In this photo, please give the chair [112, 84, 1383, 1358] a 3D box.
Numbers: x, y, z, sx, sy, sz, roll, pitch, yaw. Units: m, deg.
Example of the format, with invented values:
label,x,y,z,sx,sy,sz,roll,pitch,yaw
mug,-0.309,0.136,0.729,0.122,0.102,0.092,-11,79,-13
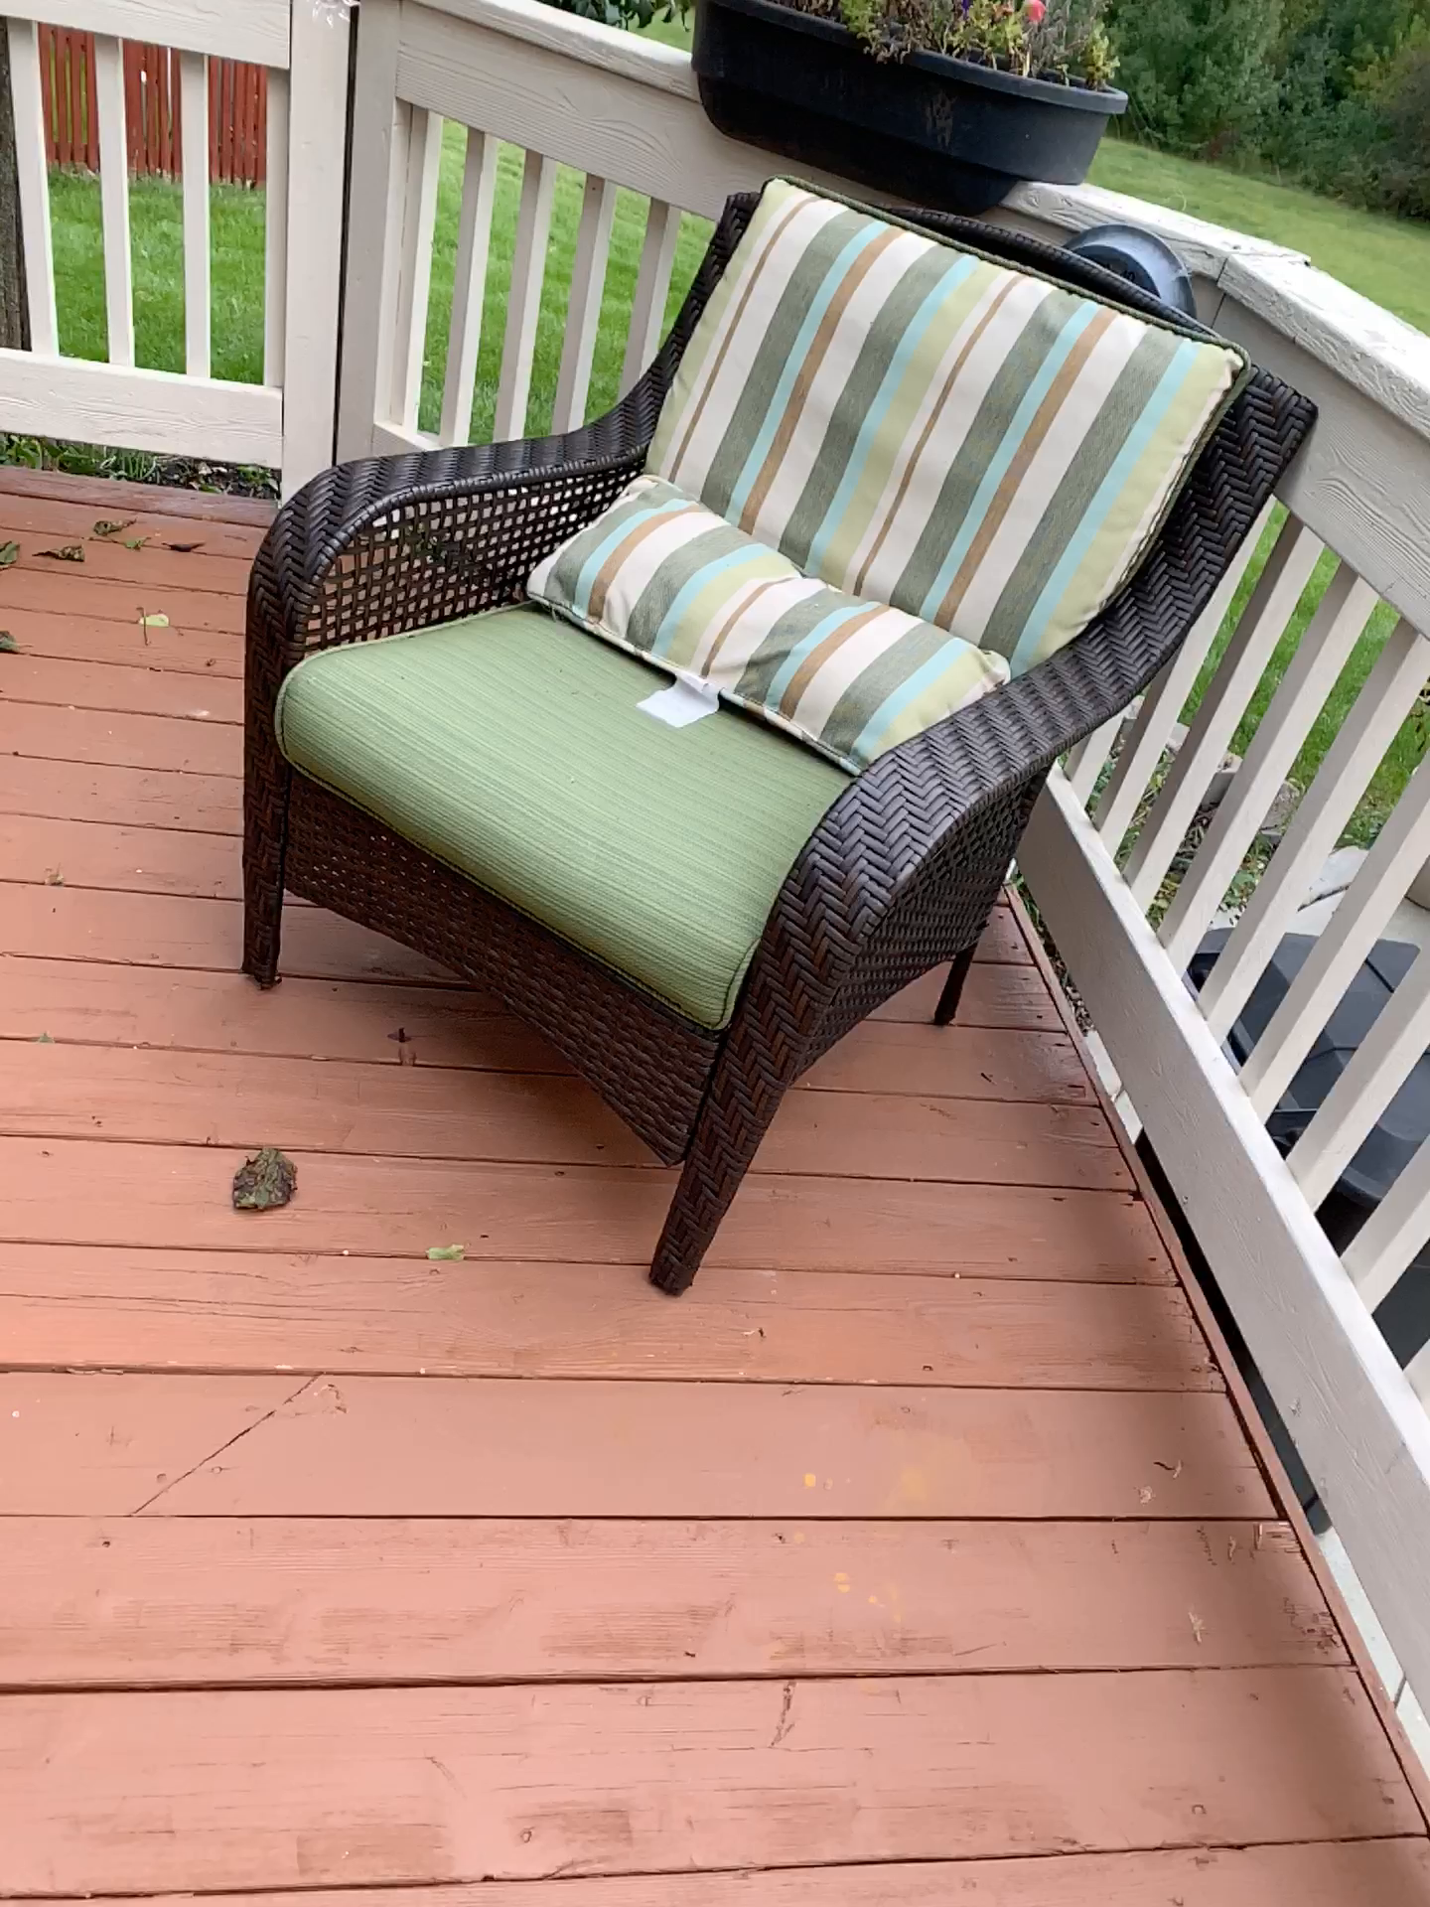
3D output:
label,x,y,z,sx,sy,sz,roll,pitch,yaw
chair,0.012,-0.325,1.540,0.811,0.823,0.864,32,39,23
